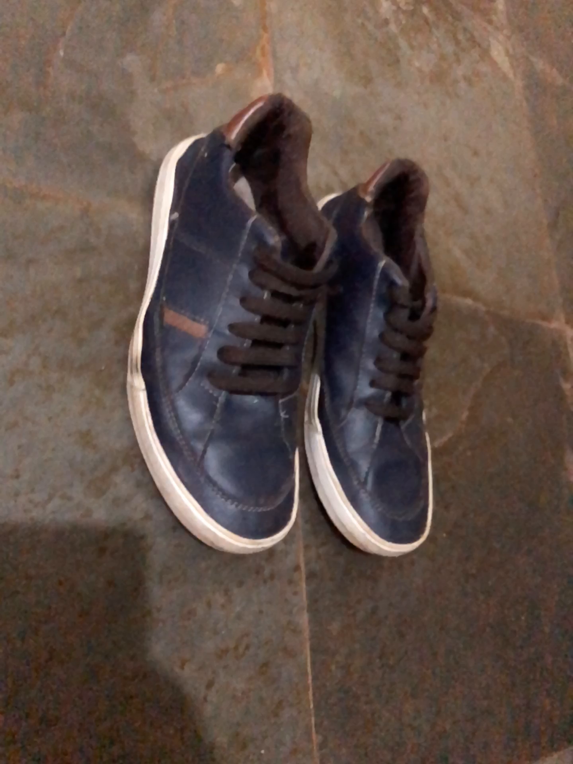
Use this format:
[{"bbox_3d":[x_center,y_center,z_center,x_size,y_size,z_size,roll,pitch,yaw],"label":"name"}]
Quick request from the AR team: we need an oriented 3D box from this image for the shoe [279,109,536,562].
[{"bbox_3d":[0.080,-0.026,0.462,0.111,0.099,0.290,6,72,-37],"label":"shoe"}]

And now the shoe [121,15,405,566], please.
[{"bbox_3d":[-0.022,-0.044,0.386,0.121,0.099,0.290,8,71,-37],"label":"shoe"}]
